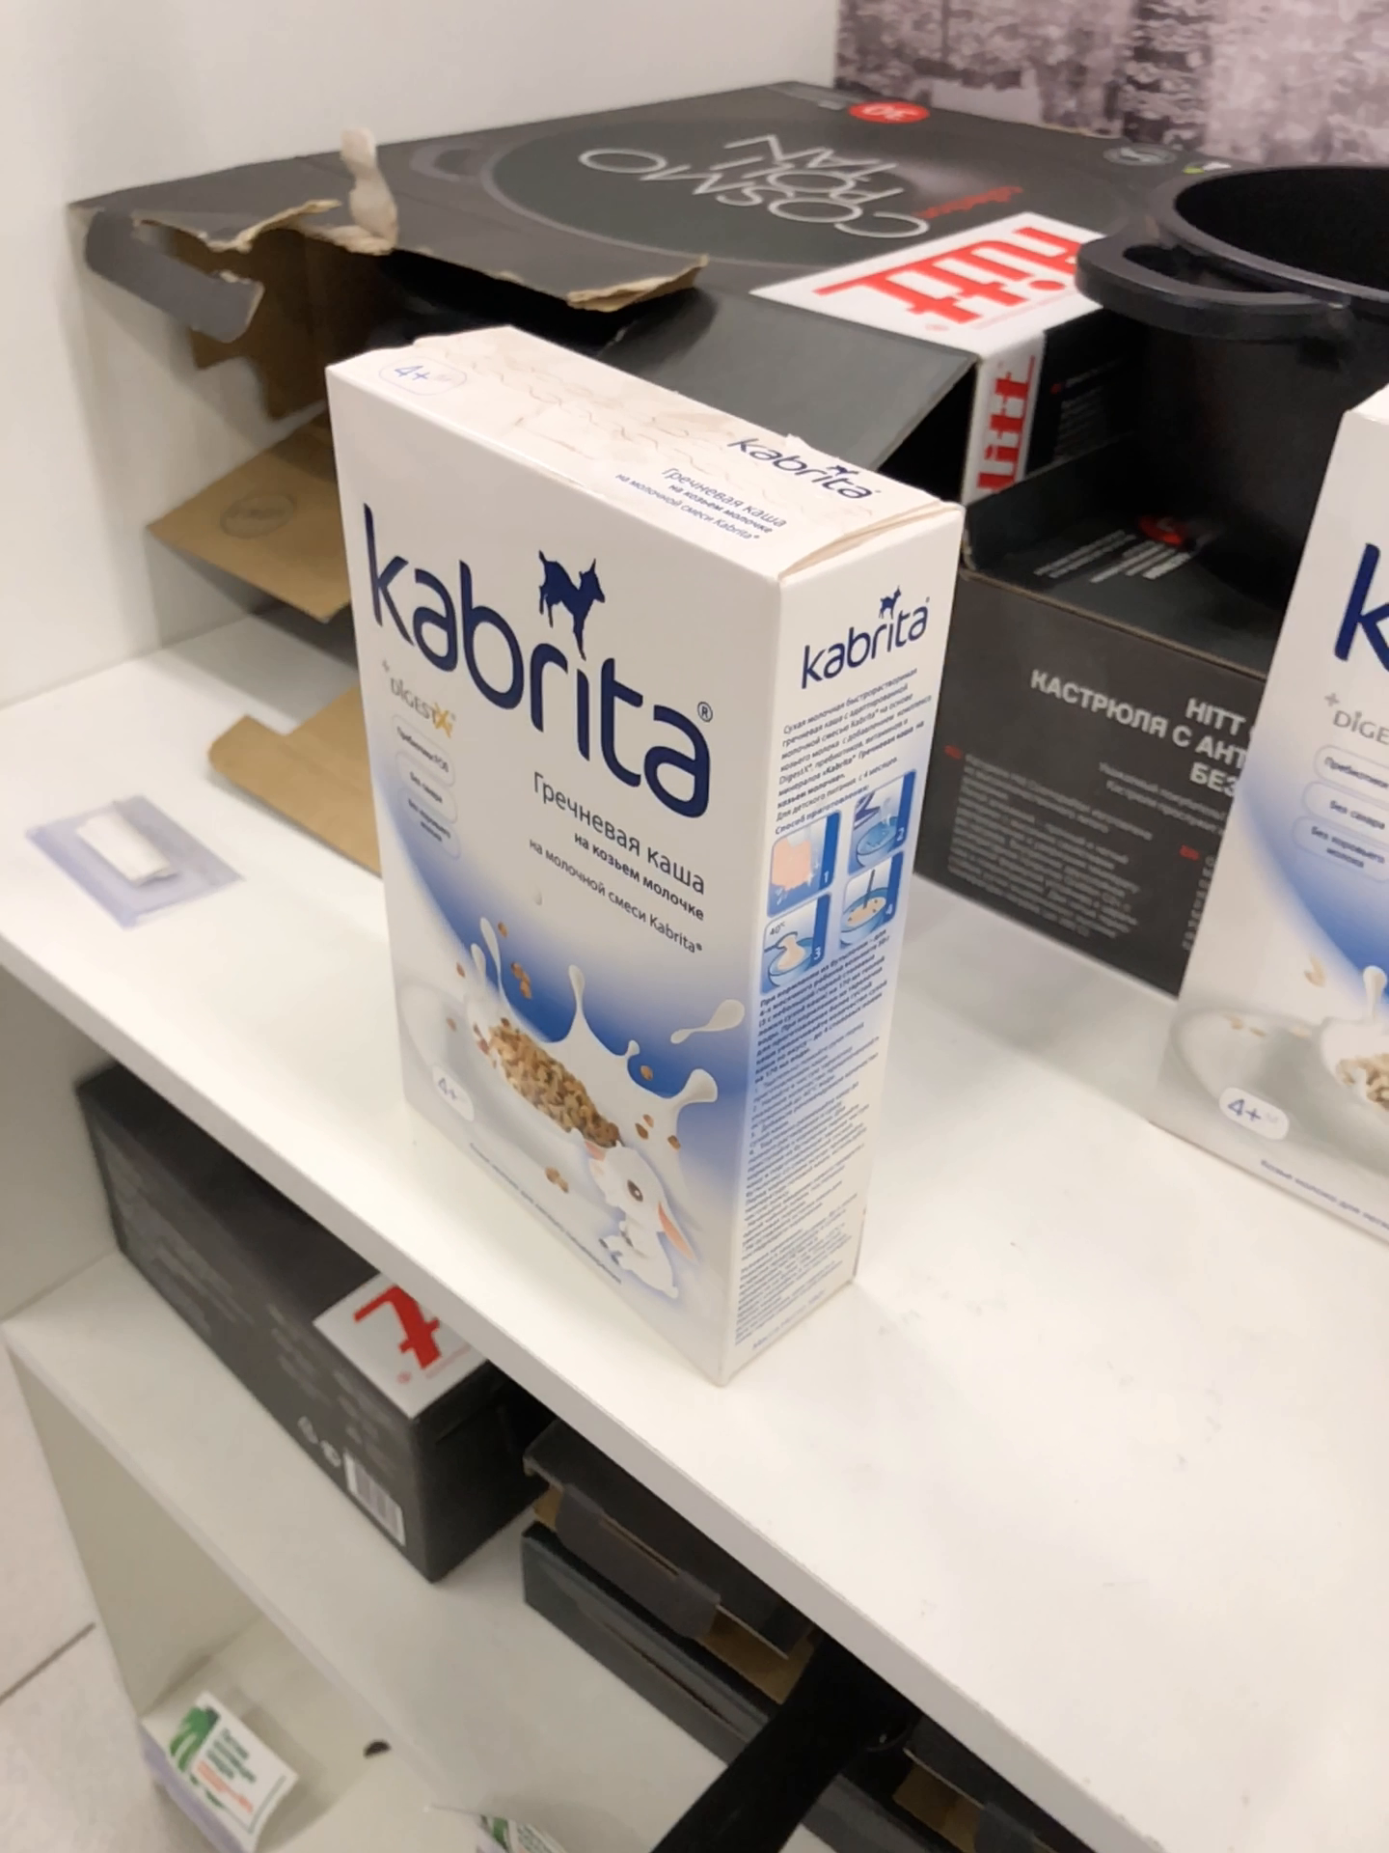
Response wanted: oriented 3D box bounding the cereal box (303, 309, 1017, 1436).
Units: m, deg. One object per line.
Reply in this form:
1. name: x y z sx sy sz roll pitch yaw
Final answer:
1. cereal box: -0.016 -0.008 0.354 0.140 0.219 0.050 32 45 33
